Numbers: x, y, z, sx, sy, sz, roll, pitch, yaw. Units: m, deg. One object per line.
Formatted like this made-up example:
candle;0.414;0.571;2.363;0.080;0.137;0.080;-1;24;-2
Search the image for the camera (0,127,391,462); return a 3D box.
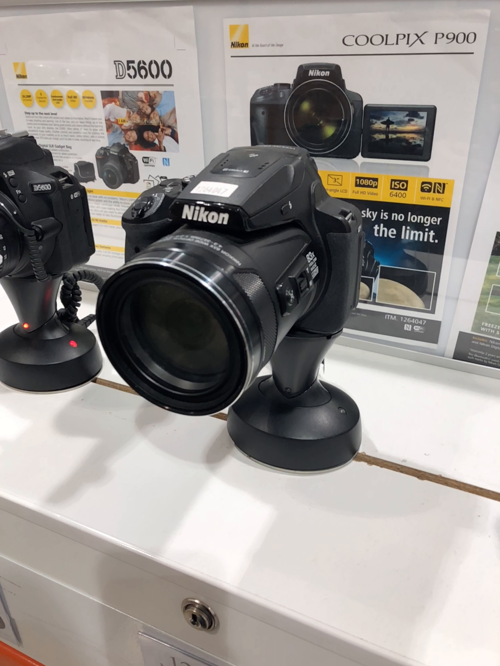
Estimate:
camera;-0.018;-0.040;0.291;0.140;0.100;0.161;12;31;20
